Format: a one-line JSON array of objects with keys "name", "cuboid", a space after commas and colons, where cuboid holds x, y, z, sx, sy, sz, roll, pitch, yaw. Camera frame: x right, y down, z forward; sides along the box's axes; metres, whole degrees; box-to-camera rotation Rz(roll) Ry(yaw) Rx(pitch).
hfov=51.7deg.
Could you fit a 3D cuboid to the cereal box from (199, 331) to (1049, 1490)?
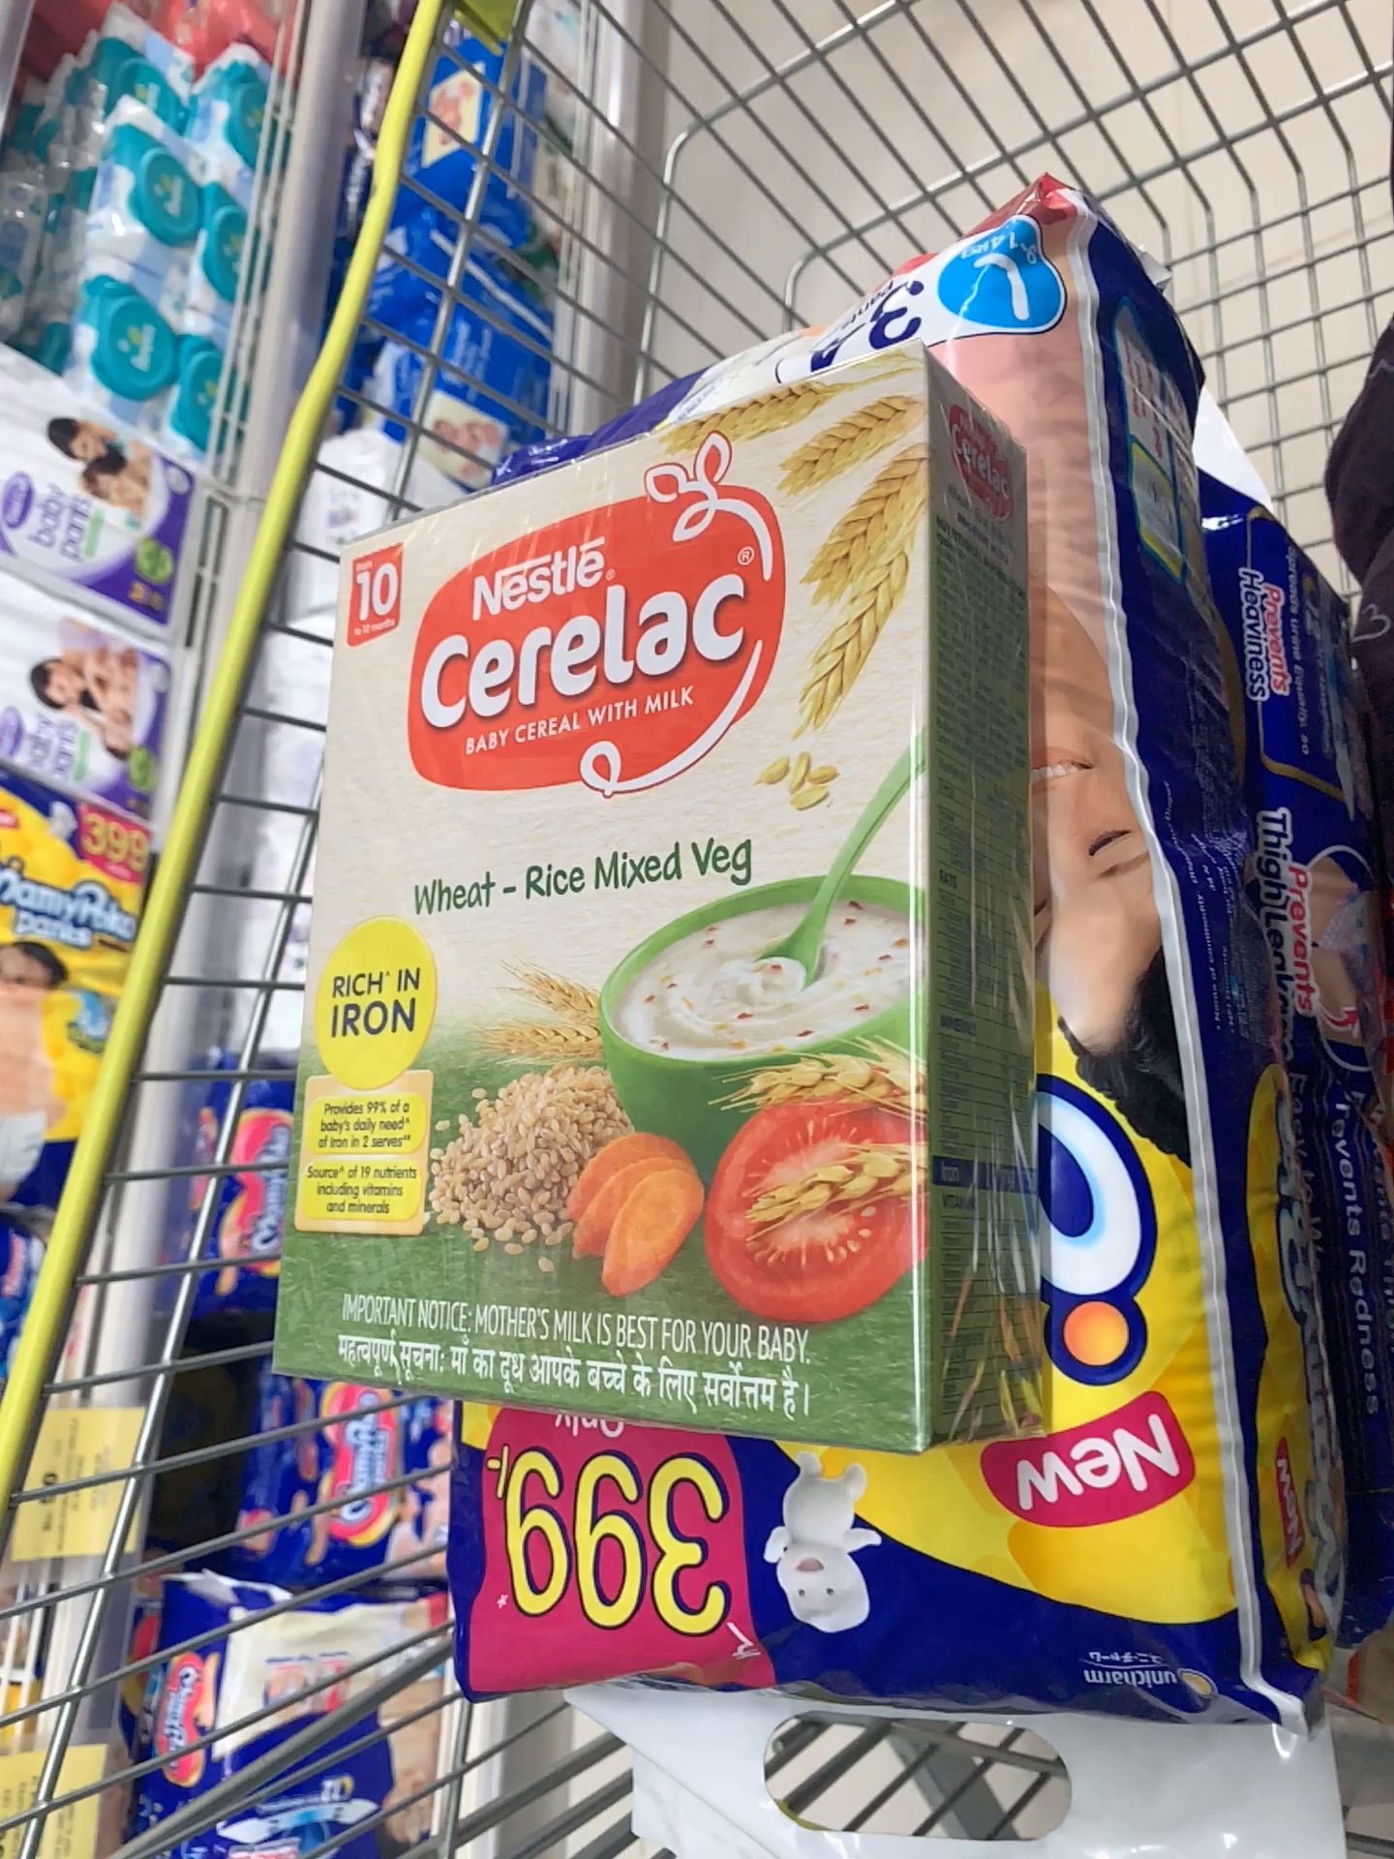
[{"name": "cereal box", "cuboid": [-0.018, 0.002, 0.284, 0.161, 0.050, 0.180, -7, 75, 35]}]
